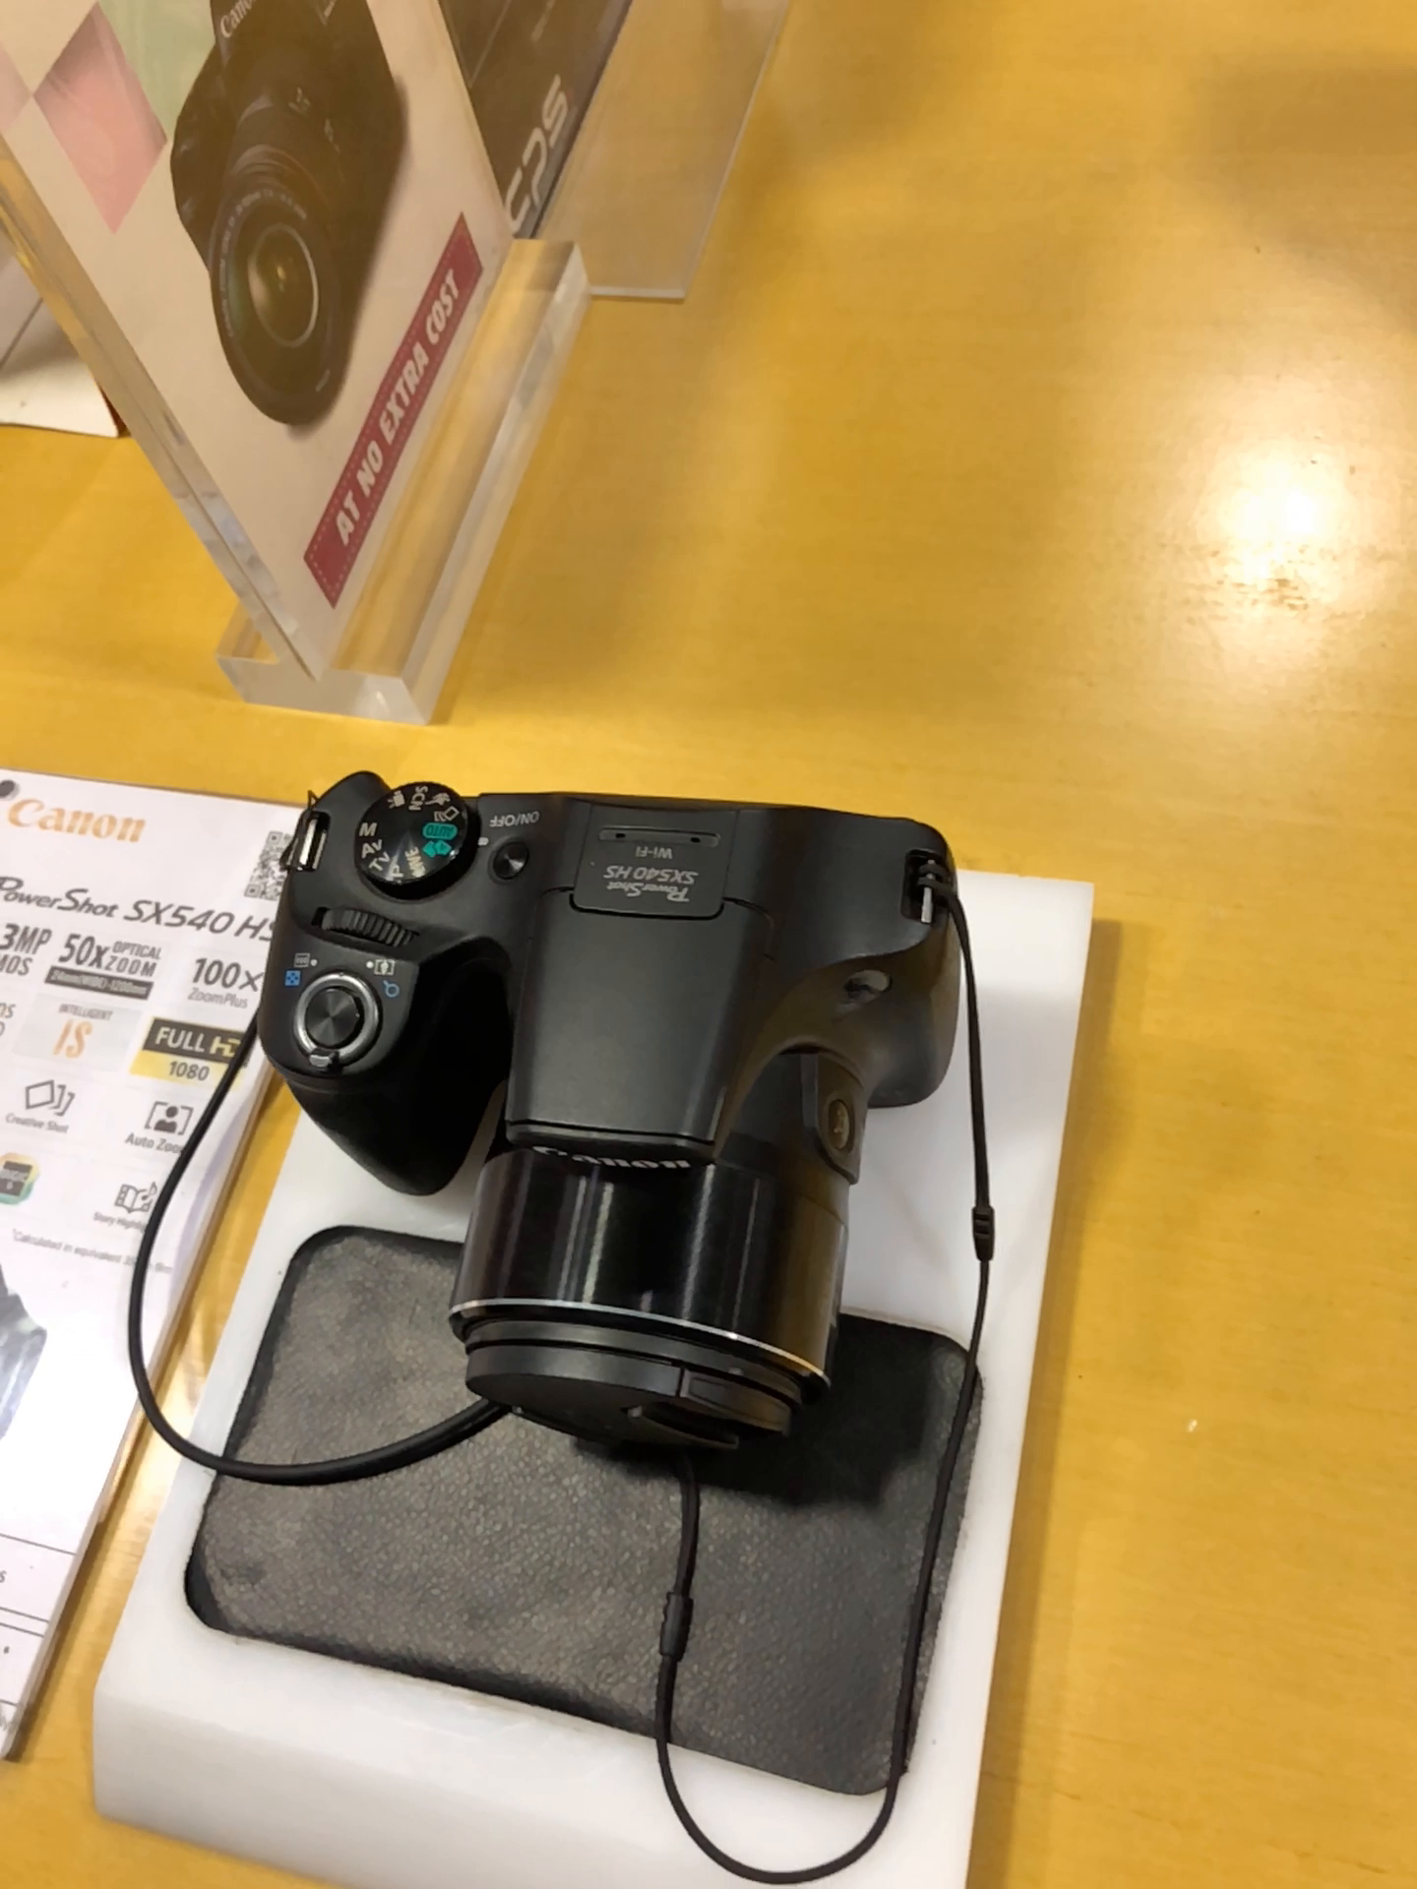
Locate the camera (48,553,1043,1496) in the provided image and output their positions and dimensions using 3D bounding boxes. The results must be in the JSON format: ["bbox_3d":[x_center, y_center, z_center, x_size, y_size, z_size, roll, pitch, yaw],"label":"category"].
[{"bbox_3d":[-0.013,0.013,0.279,0.130,0.090,0.130,5,63,12],"label":"camera"}]
